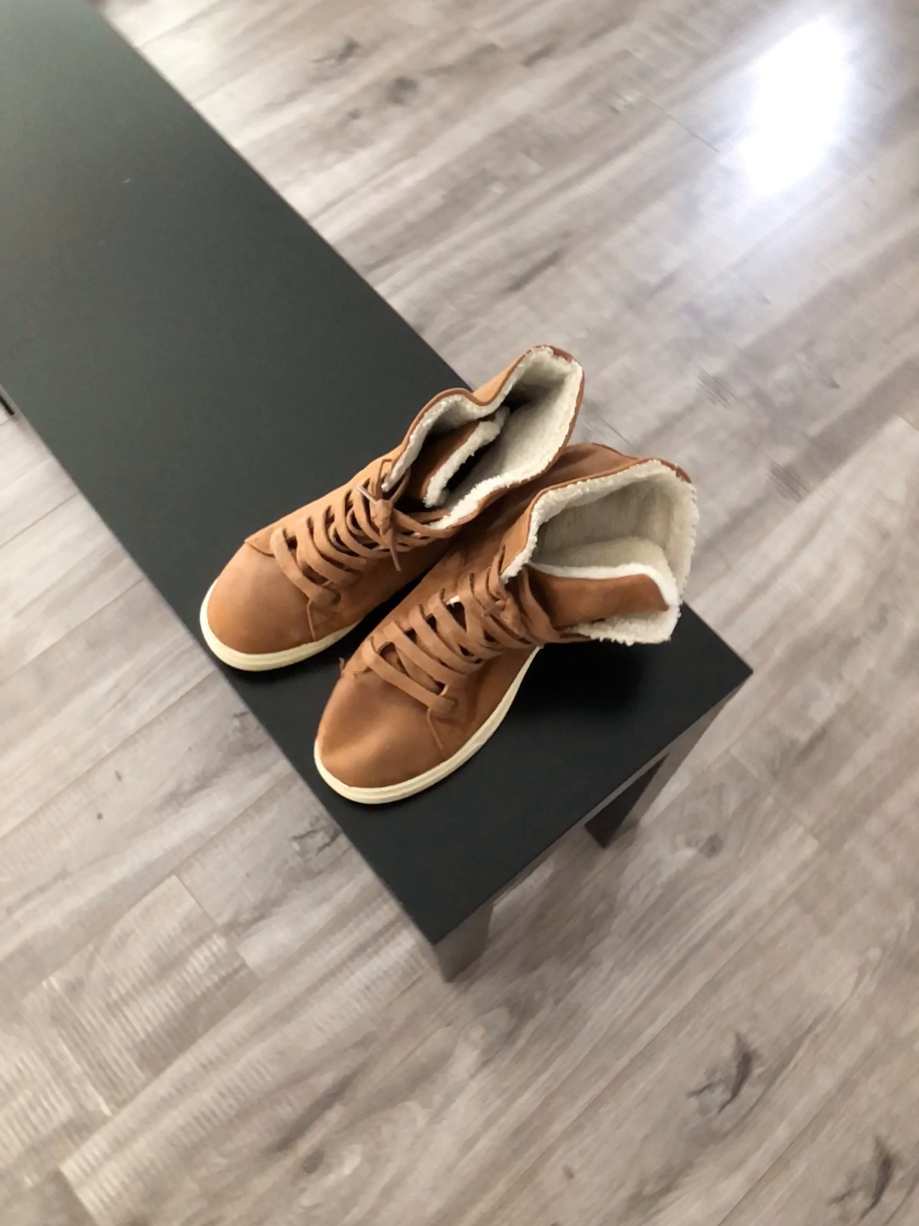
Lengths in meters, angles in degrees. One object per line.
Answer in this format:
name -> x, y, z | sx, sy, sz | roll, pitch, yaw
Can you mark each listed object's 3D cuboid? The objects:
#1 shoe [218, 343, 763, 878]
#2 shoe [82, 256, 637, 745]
shoe -> 0.020, 0.002, 0.553 | 0.260, 0.140, 0.110 | -41, 73, -15
shoe -> -0.048, -0.059, 0.577 | 0.260, 0.150, 0.110 | -31, 70, -12
